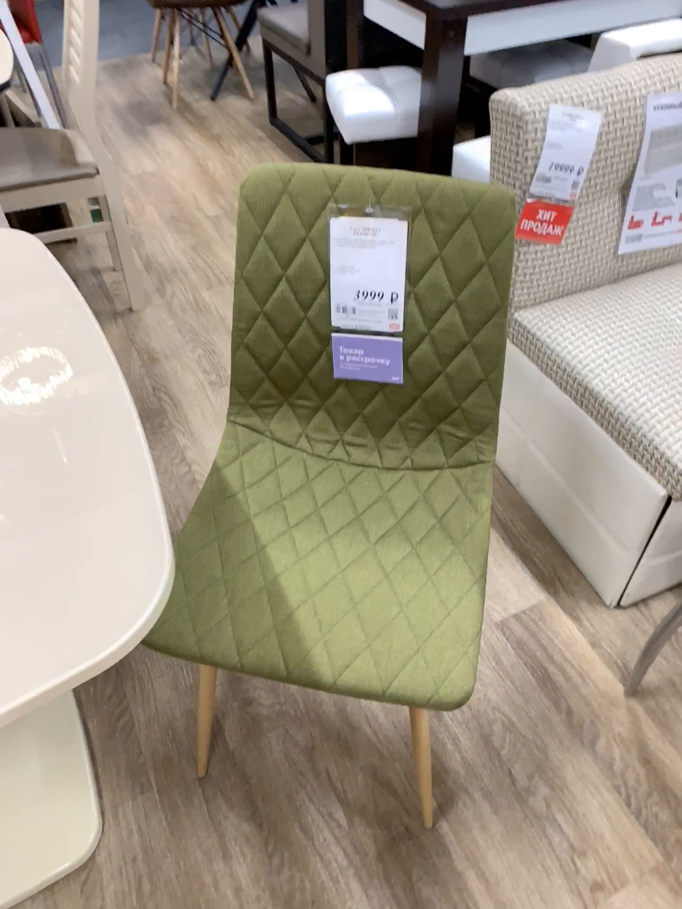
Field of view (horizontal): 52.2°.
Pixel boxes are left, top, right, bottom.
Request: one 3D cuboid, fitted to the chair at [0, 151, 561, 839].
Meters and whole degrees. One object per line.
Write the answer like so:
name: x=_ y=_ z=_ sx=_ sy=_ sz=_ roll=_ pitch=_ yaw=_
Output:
chair: x=-0.011 y=0.094 z=1.056 sx=0.500 sy=0.836 sz=0.563 roll=8 pitch=46 yaw=9
